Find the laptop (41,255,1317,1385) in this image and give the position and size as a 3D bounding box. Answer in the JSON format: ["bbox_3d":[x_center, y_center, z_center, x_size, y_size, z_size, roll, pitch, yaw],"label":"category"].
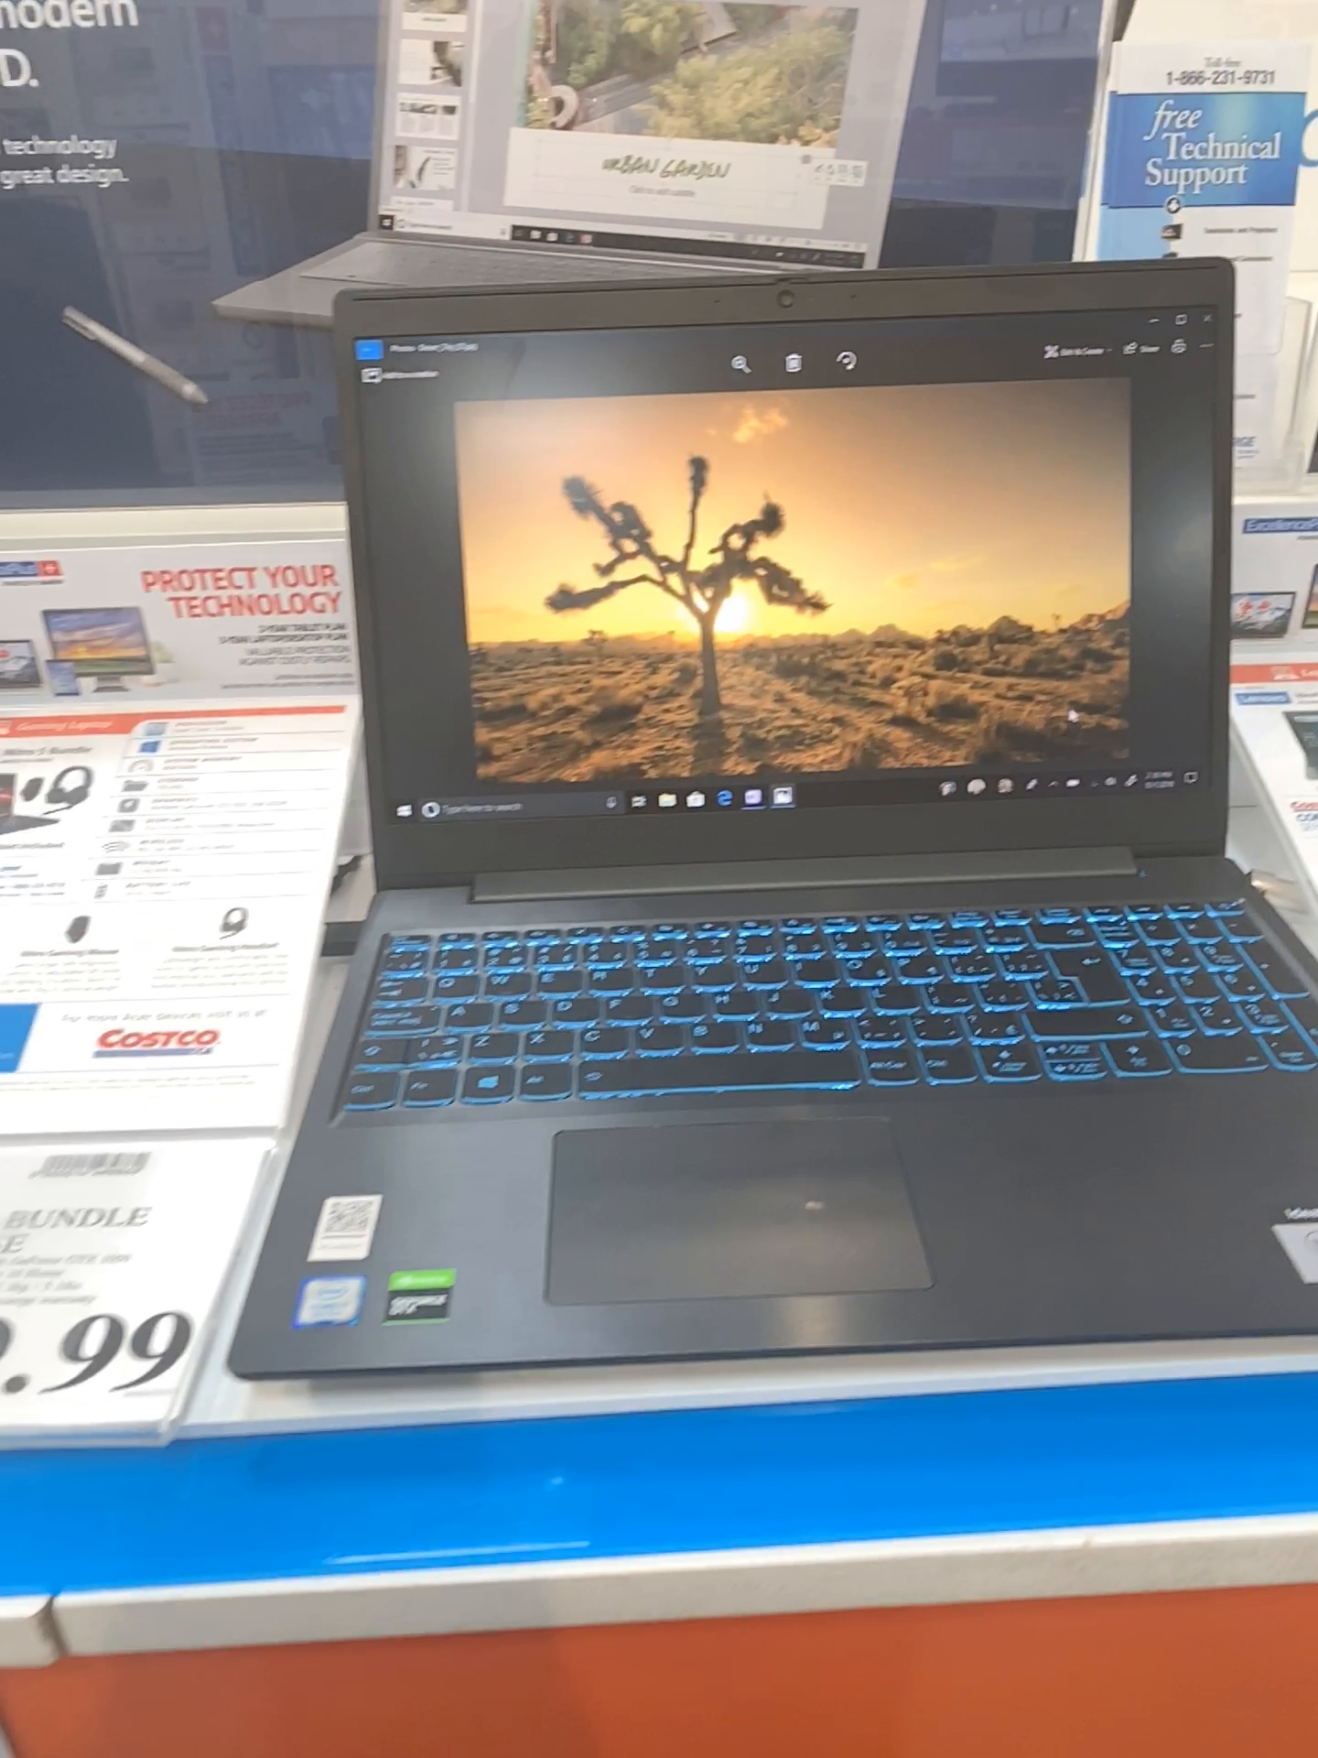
[{"bbox_3d":[0.063,-0.060,0.427,0.340,0.214,0.330,-2,29,-2],"label":"laptop"}]
